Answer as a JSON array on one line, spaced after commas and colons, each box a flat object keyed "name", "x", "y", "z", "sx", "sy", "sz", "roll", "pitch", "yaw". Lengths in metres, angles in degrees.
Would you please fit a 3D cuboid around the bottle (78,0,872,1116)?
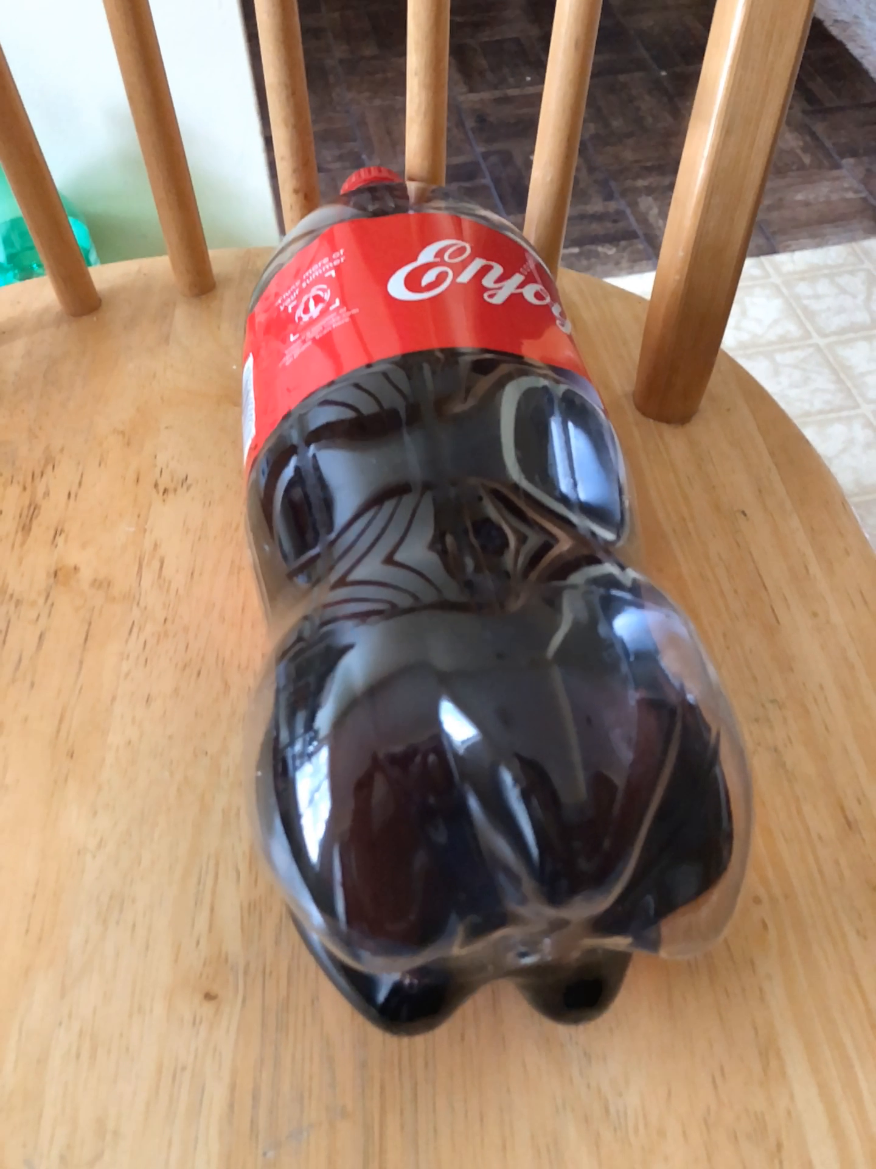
[{"name": "bottle", "x": -0.007, "y": -0.040, "z": 0.281, "sx": 0.100, "sy": 0.120, "sz": 0.320, "roll": -30, "pitch": 48, "yaw": 24}]
